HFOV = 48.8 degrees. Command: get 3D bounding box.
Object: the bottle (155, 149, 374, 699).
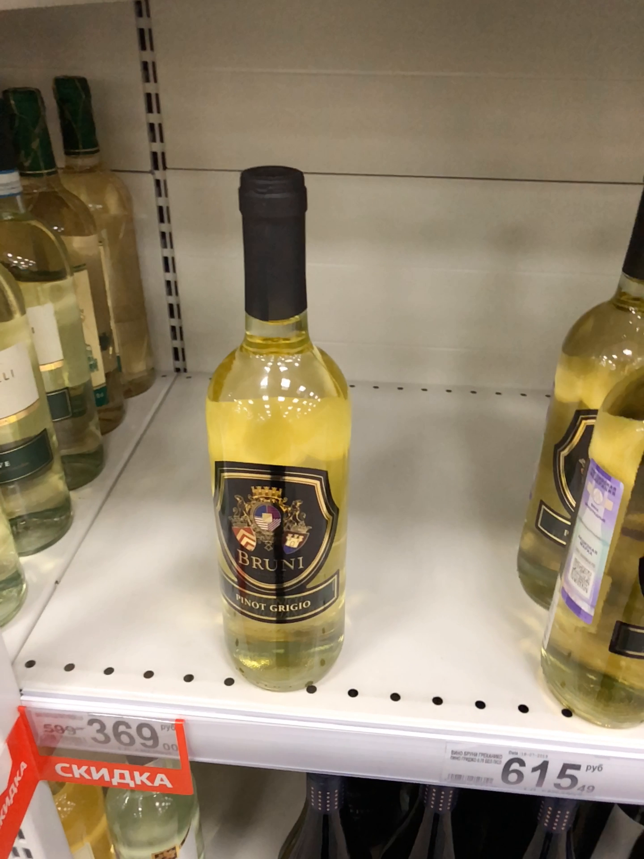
[{"bbox_3d":[-0.022,0.012,0.380,0.080,0.288,0.080,1,32,0],"label":"bottle"}]
